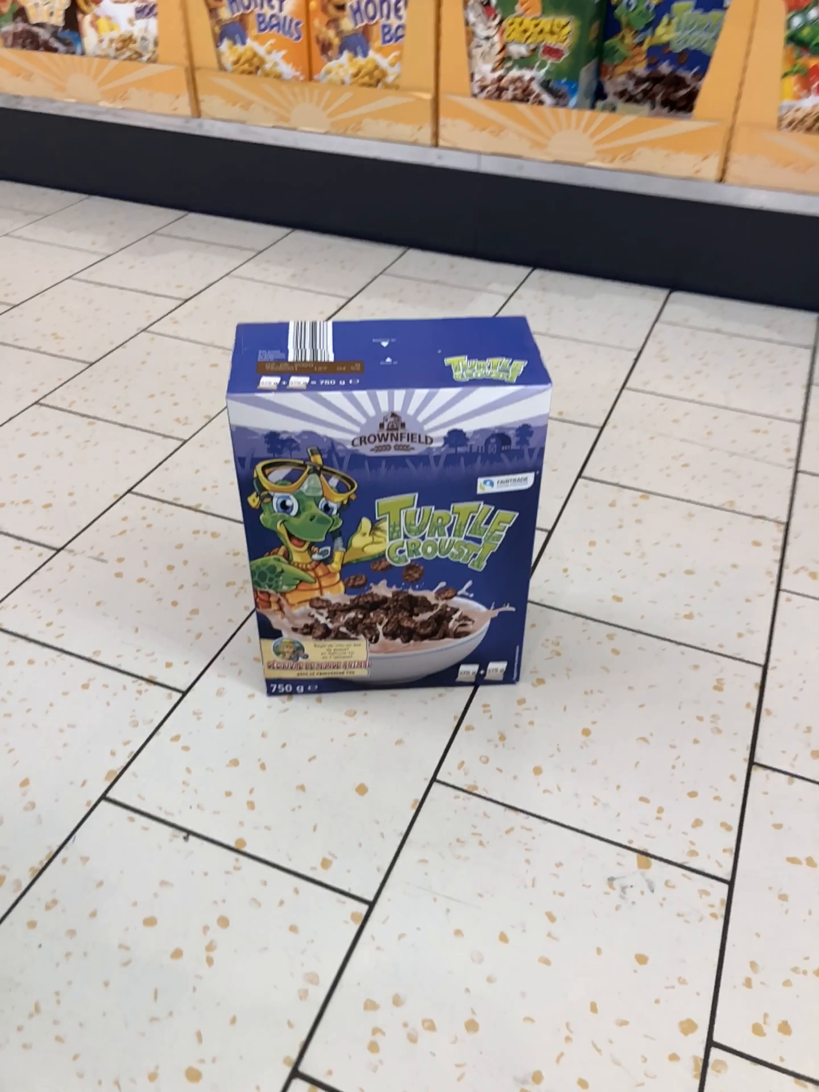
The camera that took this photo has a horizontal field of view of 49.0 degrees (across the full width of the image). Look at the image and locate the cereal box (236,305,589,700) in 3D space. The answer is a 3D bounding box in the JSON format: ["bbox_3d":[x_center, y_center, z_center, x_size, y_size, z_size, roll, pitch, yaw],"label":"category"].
[{"bbox_3d":[-0.002,-0.023,0.626,0.200,0.259,0.101,-2,38,-3],"label":"cereal box"}]
